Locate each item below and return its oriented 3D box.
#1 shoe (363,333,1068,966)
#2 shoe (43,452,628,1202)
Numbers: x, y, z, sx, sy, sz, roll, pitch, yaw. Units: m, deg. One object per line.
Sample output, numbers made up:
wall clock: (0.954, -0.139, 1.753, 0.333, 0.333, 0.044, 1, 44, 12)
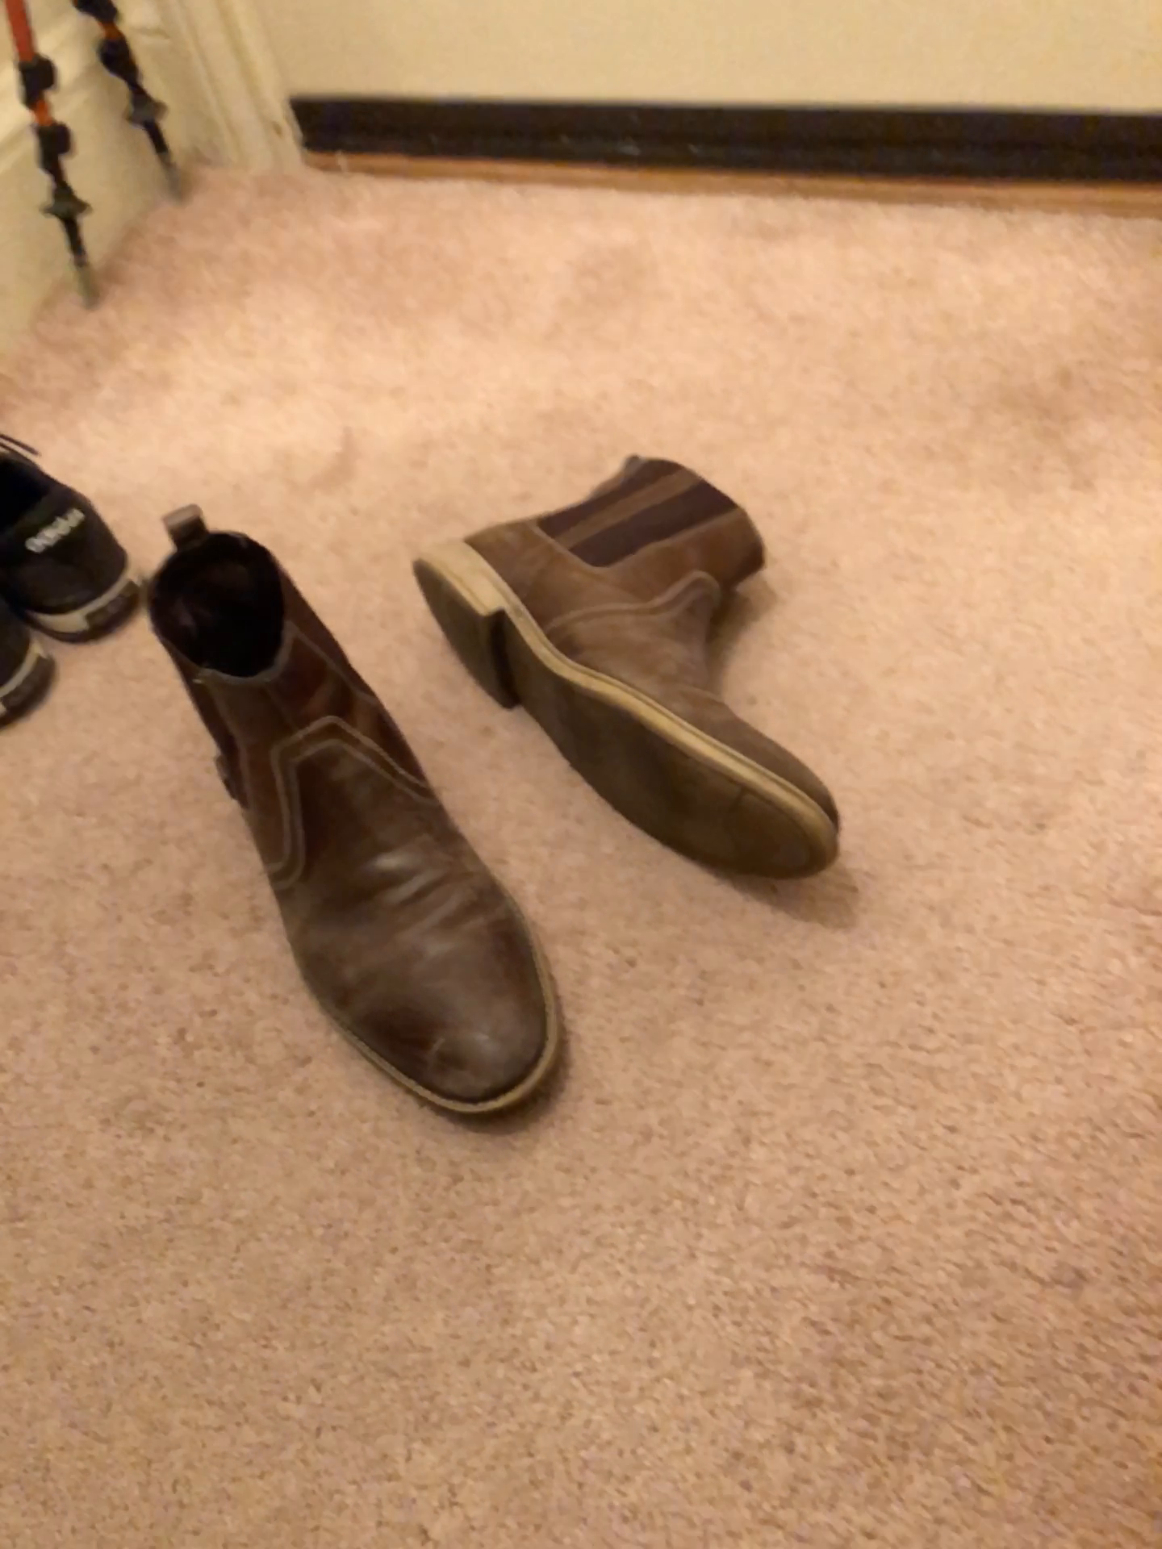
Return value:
shoe: (0.061, -0.083, 0.687, 0.186, 0.115, 0.314, -39, 56, -15)
shoe: (-0.120, 0.016, 0.615, 0.115, 0.175, 0.309, -31, 54, -11)
